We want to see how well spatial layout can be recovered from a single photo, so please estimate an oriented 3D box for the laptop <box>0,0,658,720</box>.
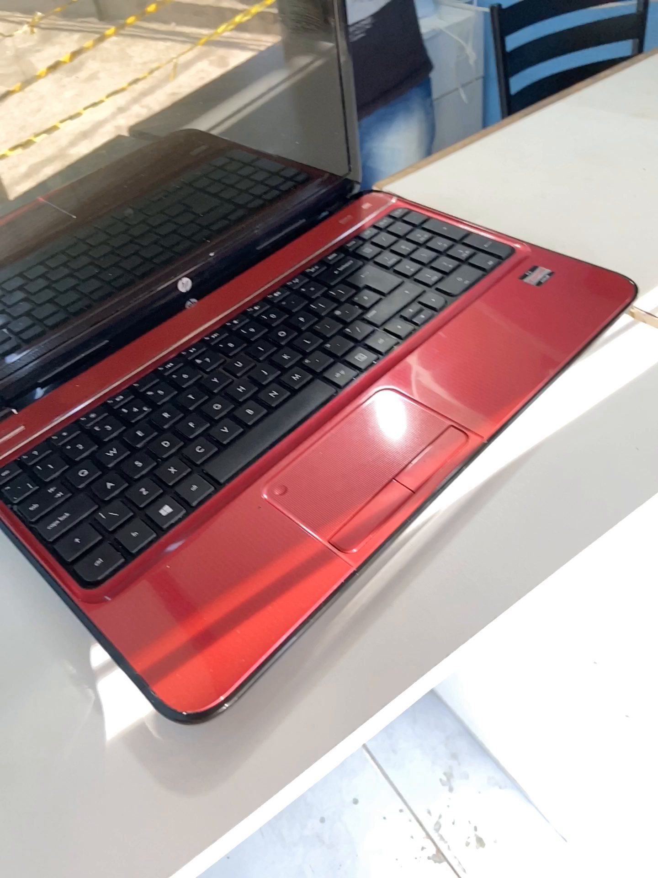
[{"bbox_3d":[-0.031,-0.121,0.321,0.227,0.221,0.357,32,59,34],"label":"laptop"}]
